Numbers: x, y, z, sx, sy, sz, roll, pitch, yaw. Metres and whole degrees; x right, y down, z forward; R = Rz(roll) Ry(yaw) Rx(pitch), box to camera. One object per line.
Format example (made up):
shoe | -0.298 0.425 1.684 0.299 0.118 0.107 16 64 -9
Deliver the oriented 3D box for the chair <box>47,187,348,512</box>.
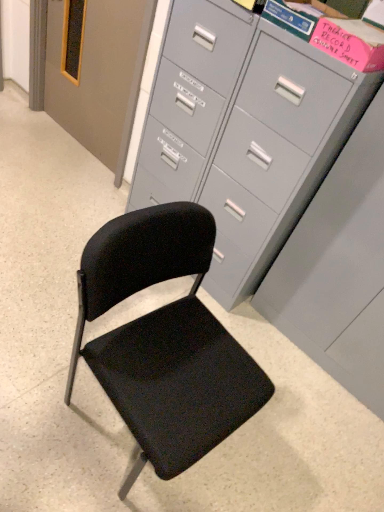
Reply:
chair | -0.063 0.320 1.386 0.633 0.832 0.583 -20 56 -37
